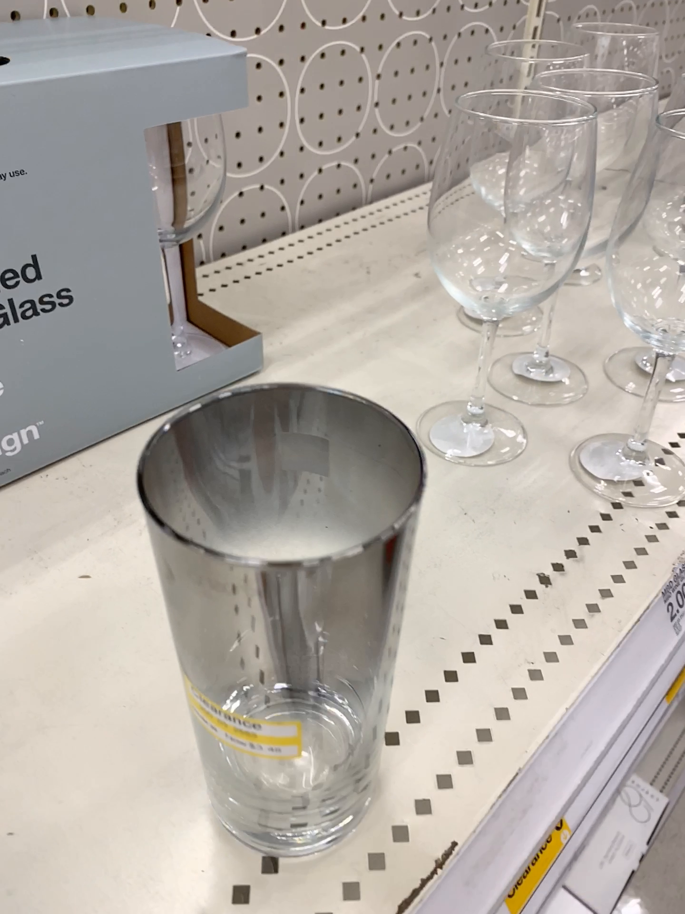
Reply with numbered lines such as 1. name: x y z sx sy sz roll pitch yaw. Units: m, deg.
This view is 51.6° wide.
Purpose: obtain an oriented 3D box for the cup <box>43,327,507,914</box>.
1. cup: -0.012 0.054 0.208 0.080 0.149 0.080 2 39 -1
